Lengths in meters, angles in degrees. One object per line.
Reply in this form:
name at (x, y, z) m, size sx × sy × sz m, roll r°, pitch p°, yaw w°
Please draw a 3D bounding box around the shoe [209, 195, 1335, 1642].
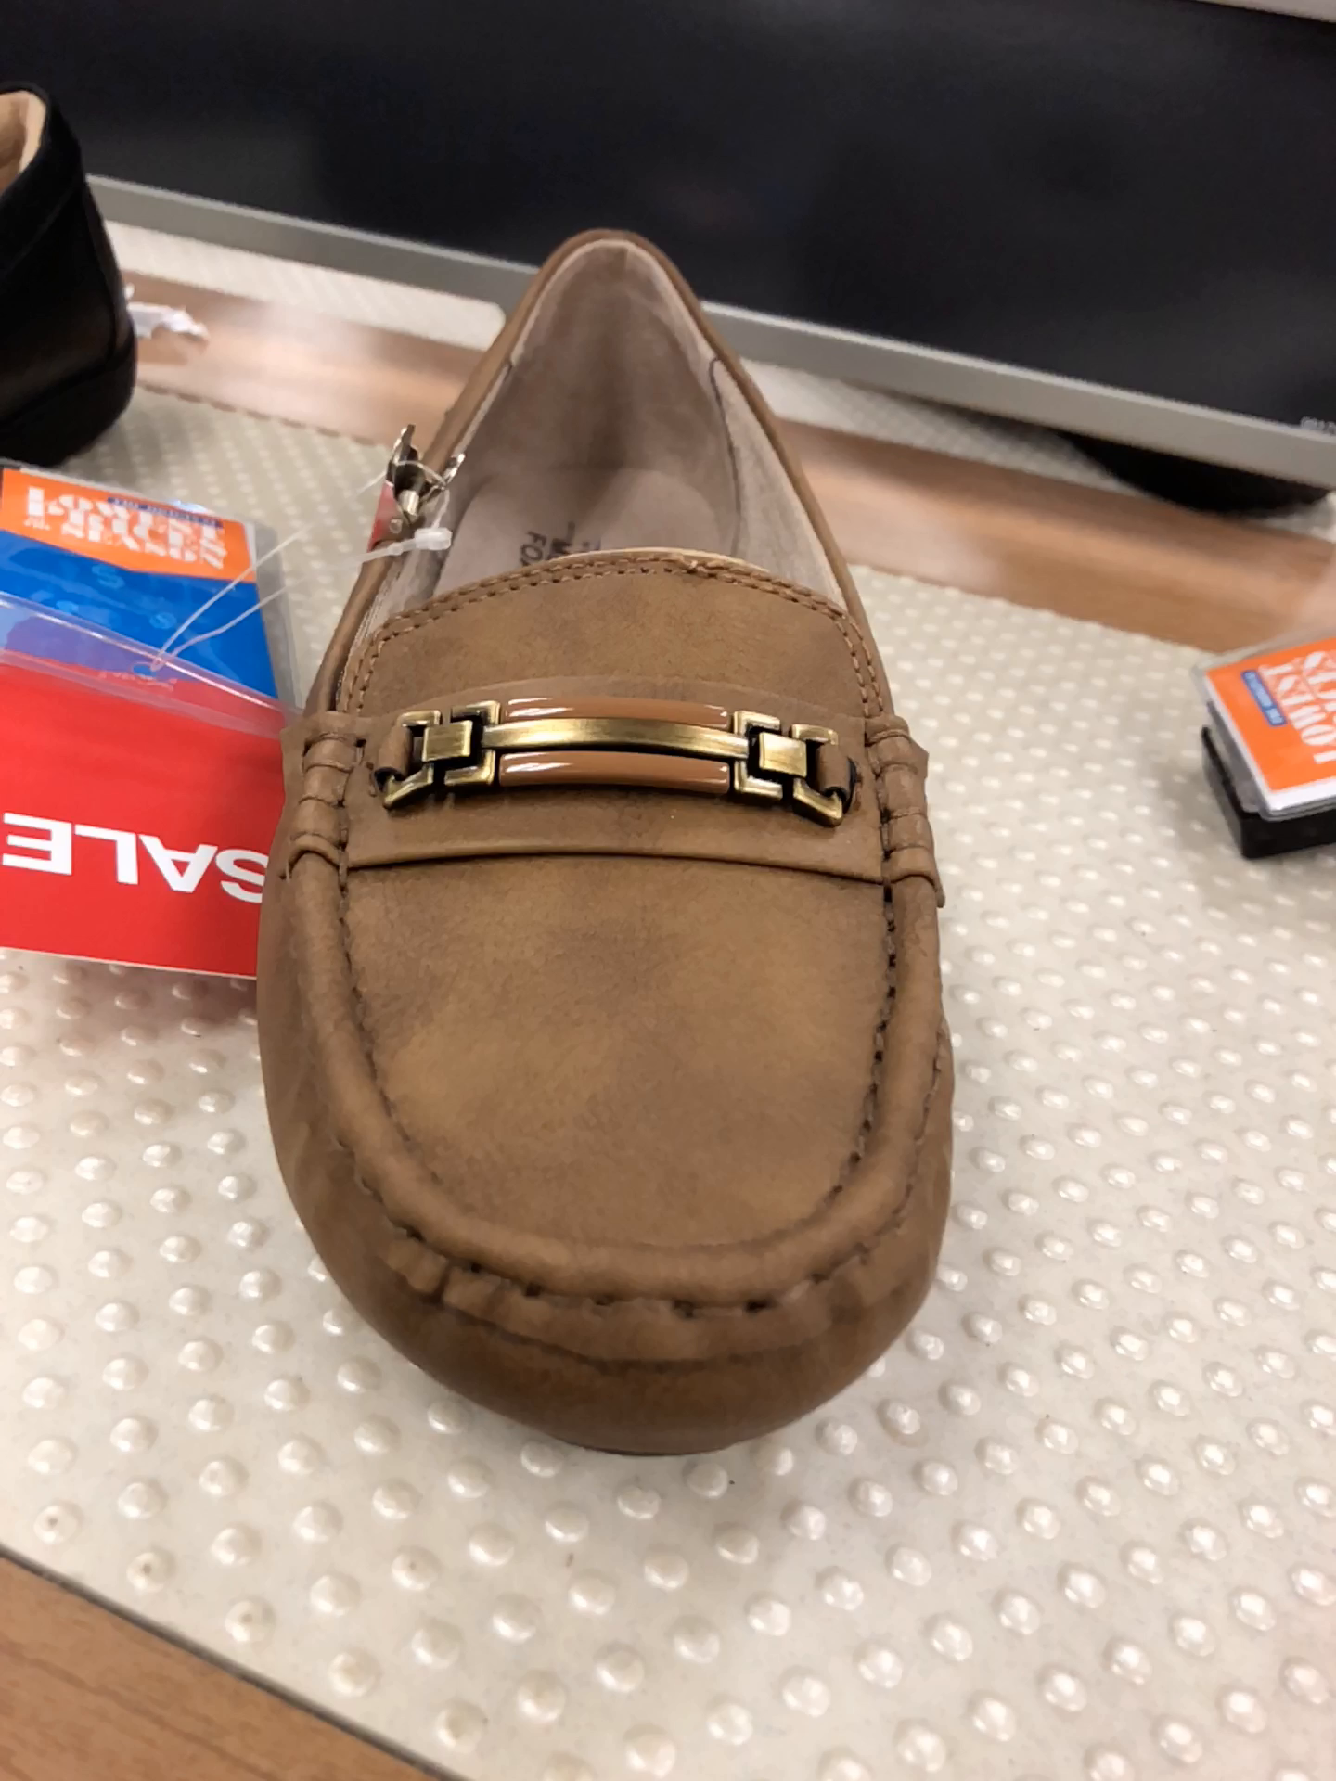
shoe at (-0.003, -0.030, 0.218) m, size 0.087 × 0.079 × 0.236 m, roll 1°, pitch 35°, yaw -9°
